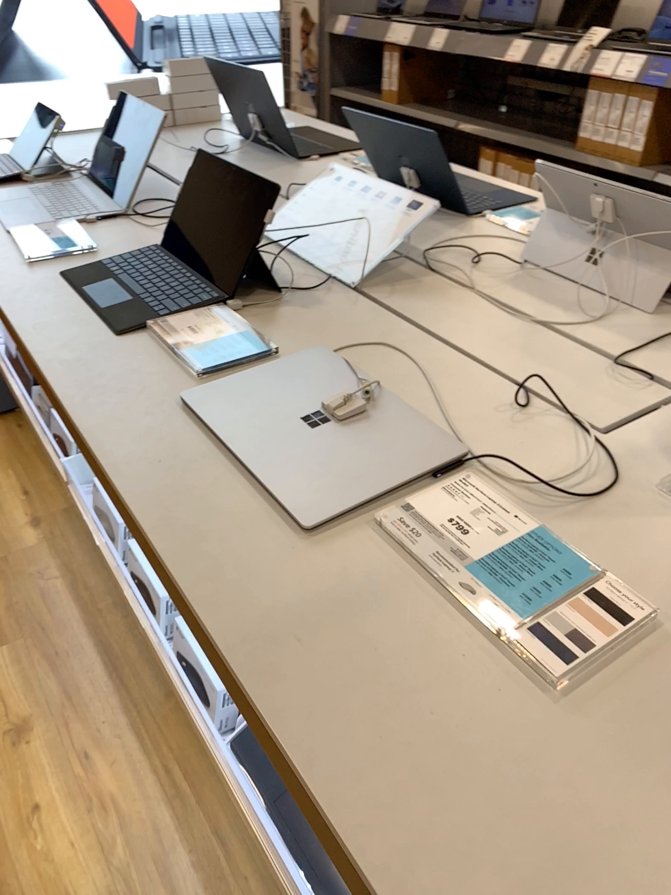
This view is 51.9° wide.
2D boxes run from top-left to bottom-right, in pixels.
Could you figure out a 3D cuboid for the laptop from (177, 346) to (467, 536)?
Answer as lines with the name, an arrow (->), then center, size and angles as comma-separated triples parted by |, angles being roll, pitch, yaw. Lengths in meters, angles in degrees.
laptop -> -0.027, -0.028, 0.834 | 0.220, 0.008, 0.298 | -23, 43, -26
